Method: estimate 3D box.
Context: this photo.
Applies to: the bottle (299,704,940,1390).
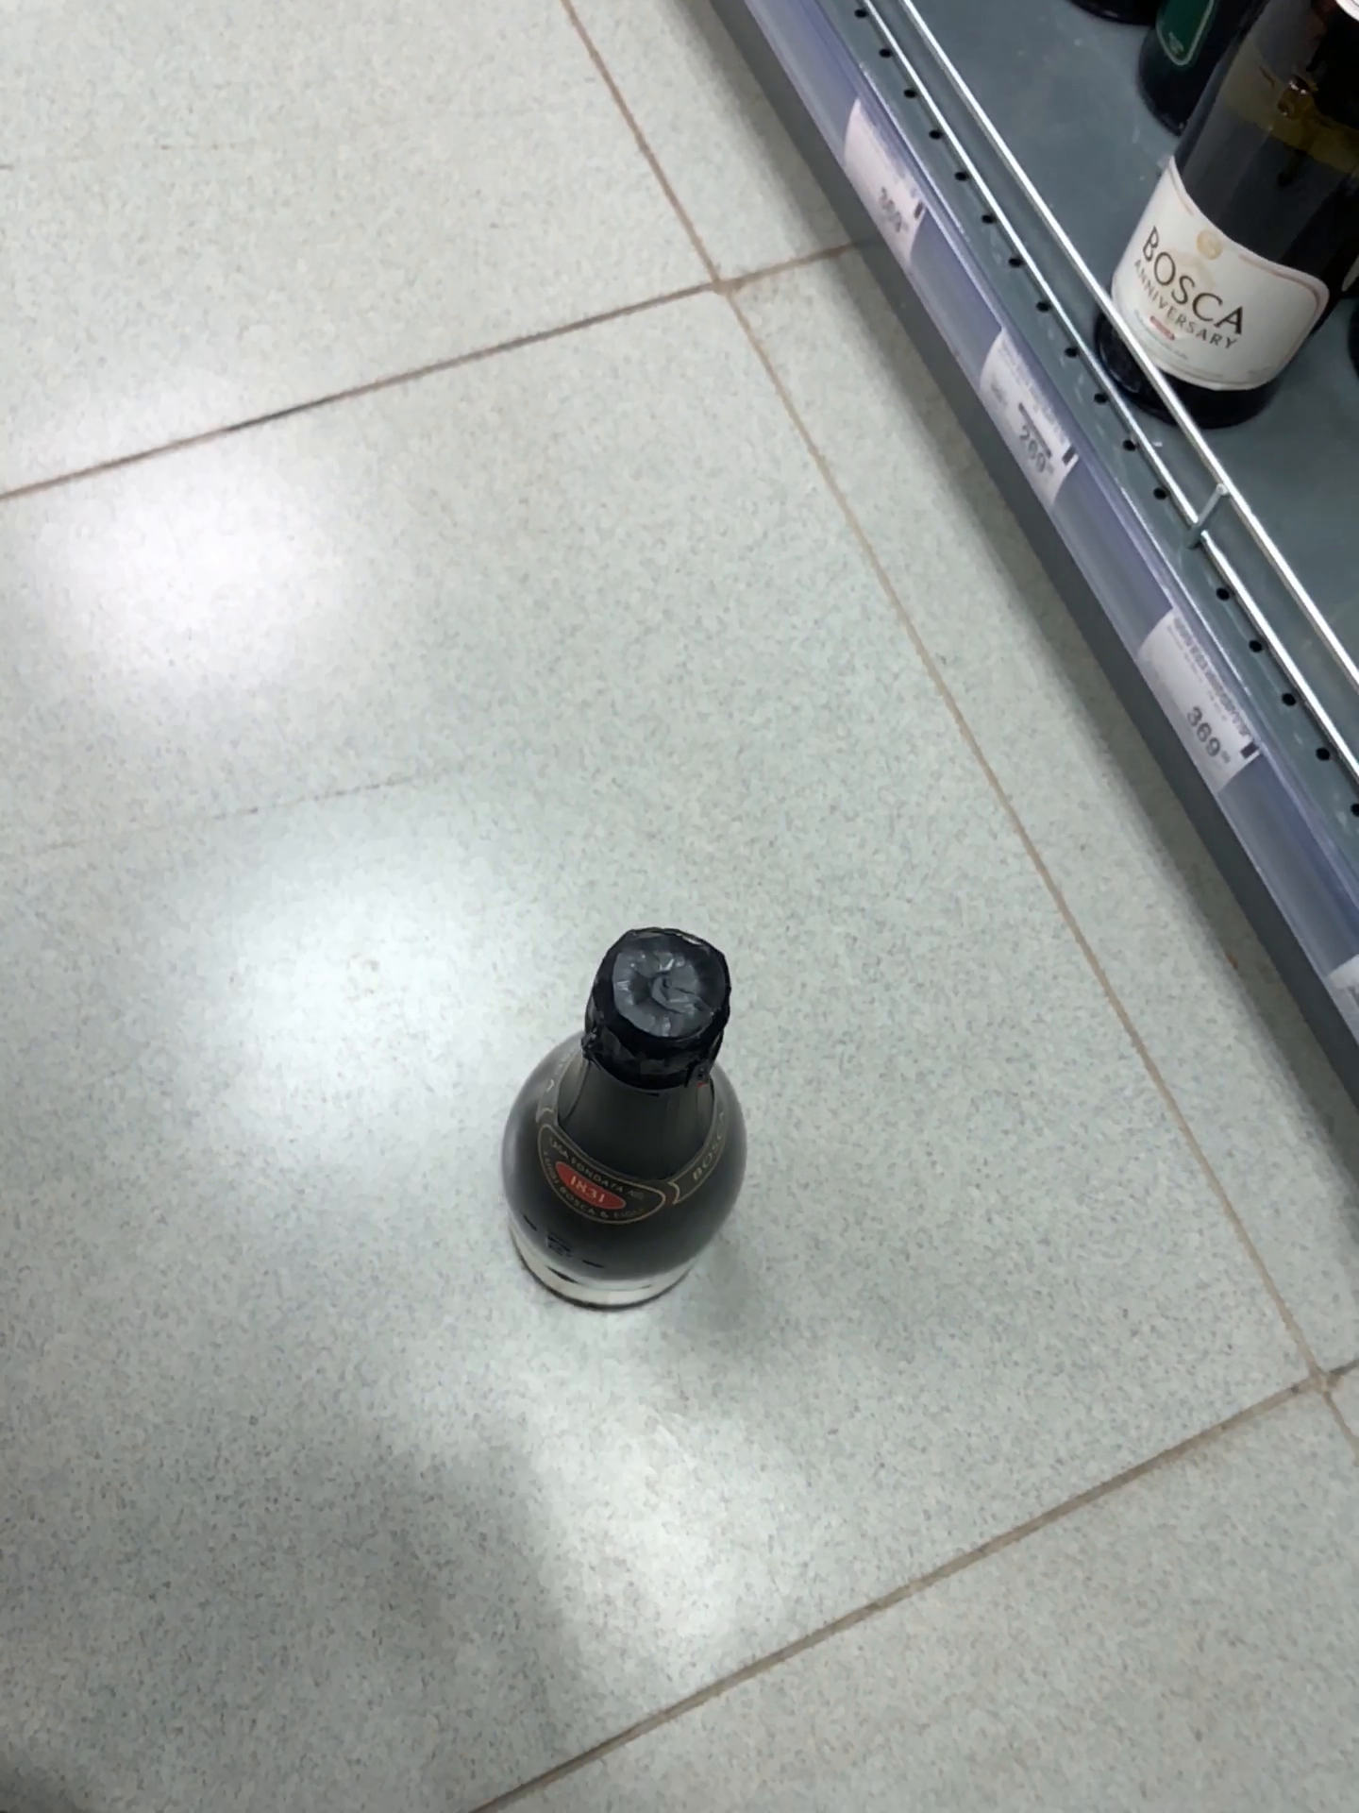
[{"bbox_3d":[-0.024,0.071,0.461,0.100,0.312,0.090,40,71,10],"label":"bottle"}]
